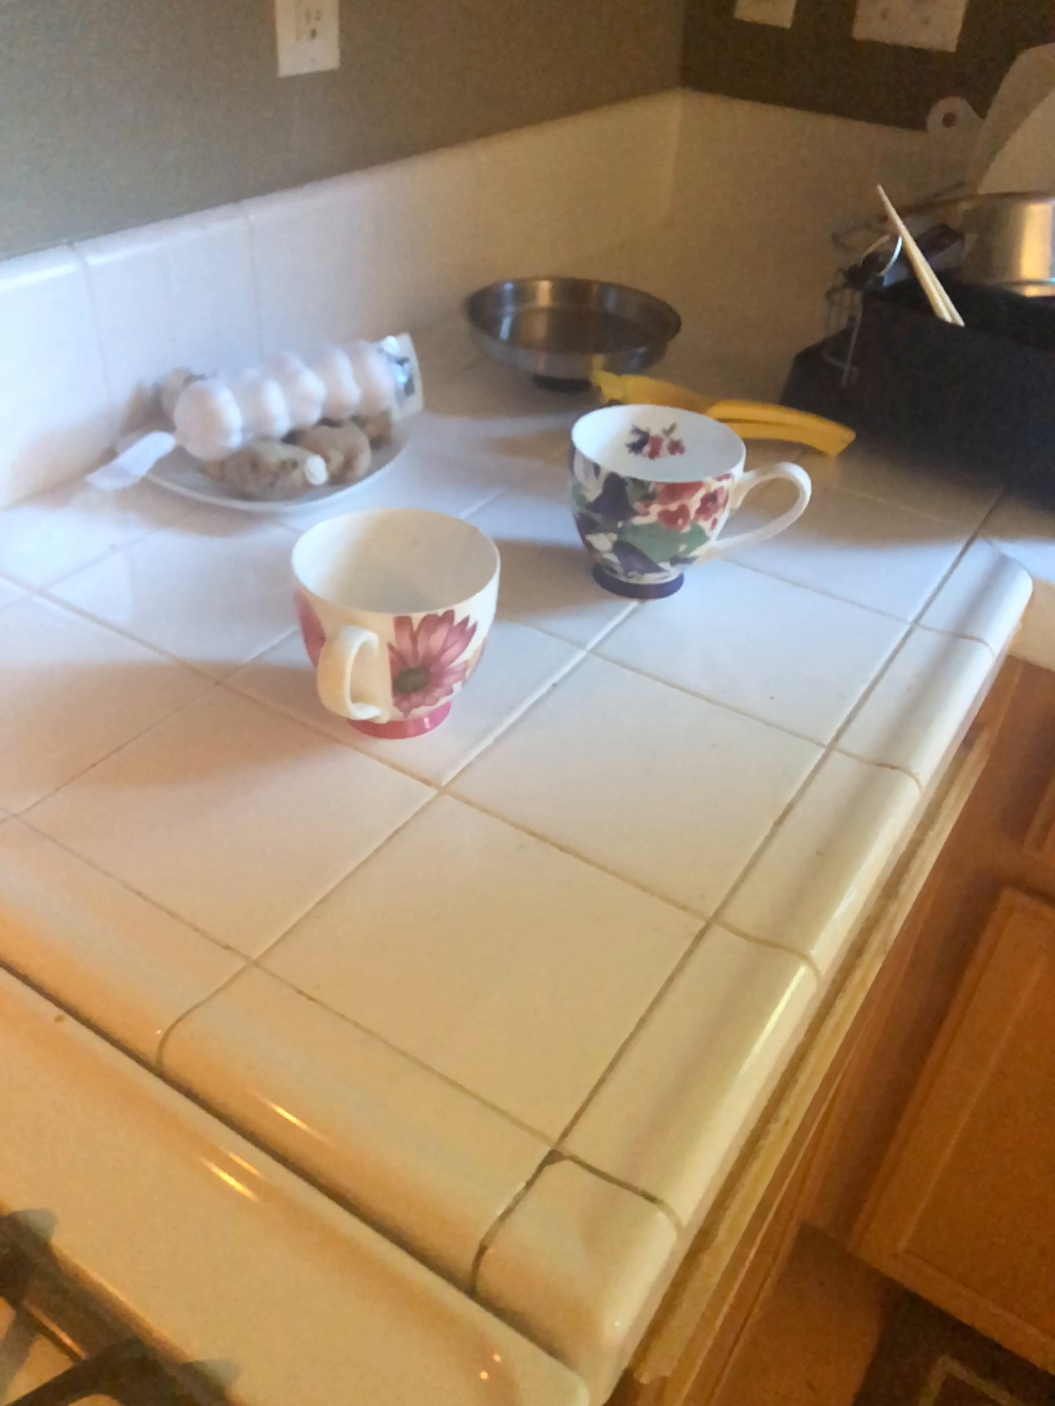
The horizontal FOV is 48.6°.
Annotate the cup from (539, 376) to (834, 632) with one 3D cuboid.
[{"bbox_3d":[0.099,-0.128,0.730,0.150,0.089,0.111,15,39,13],"label":"cup"}]

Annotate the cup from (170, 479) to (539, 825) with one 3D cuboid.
[{"bbox_3d":[-0.080,-0.033,0.585,0.110,0.079,0.151,20,40,19],"label":"cup"}]
